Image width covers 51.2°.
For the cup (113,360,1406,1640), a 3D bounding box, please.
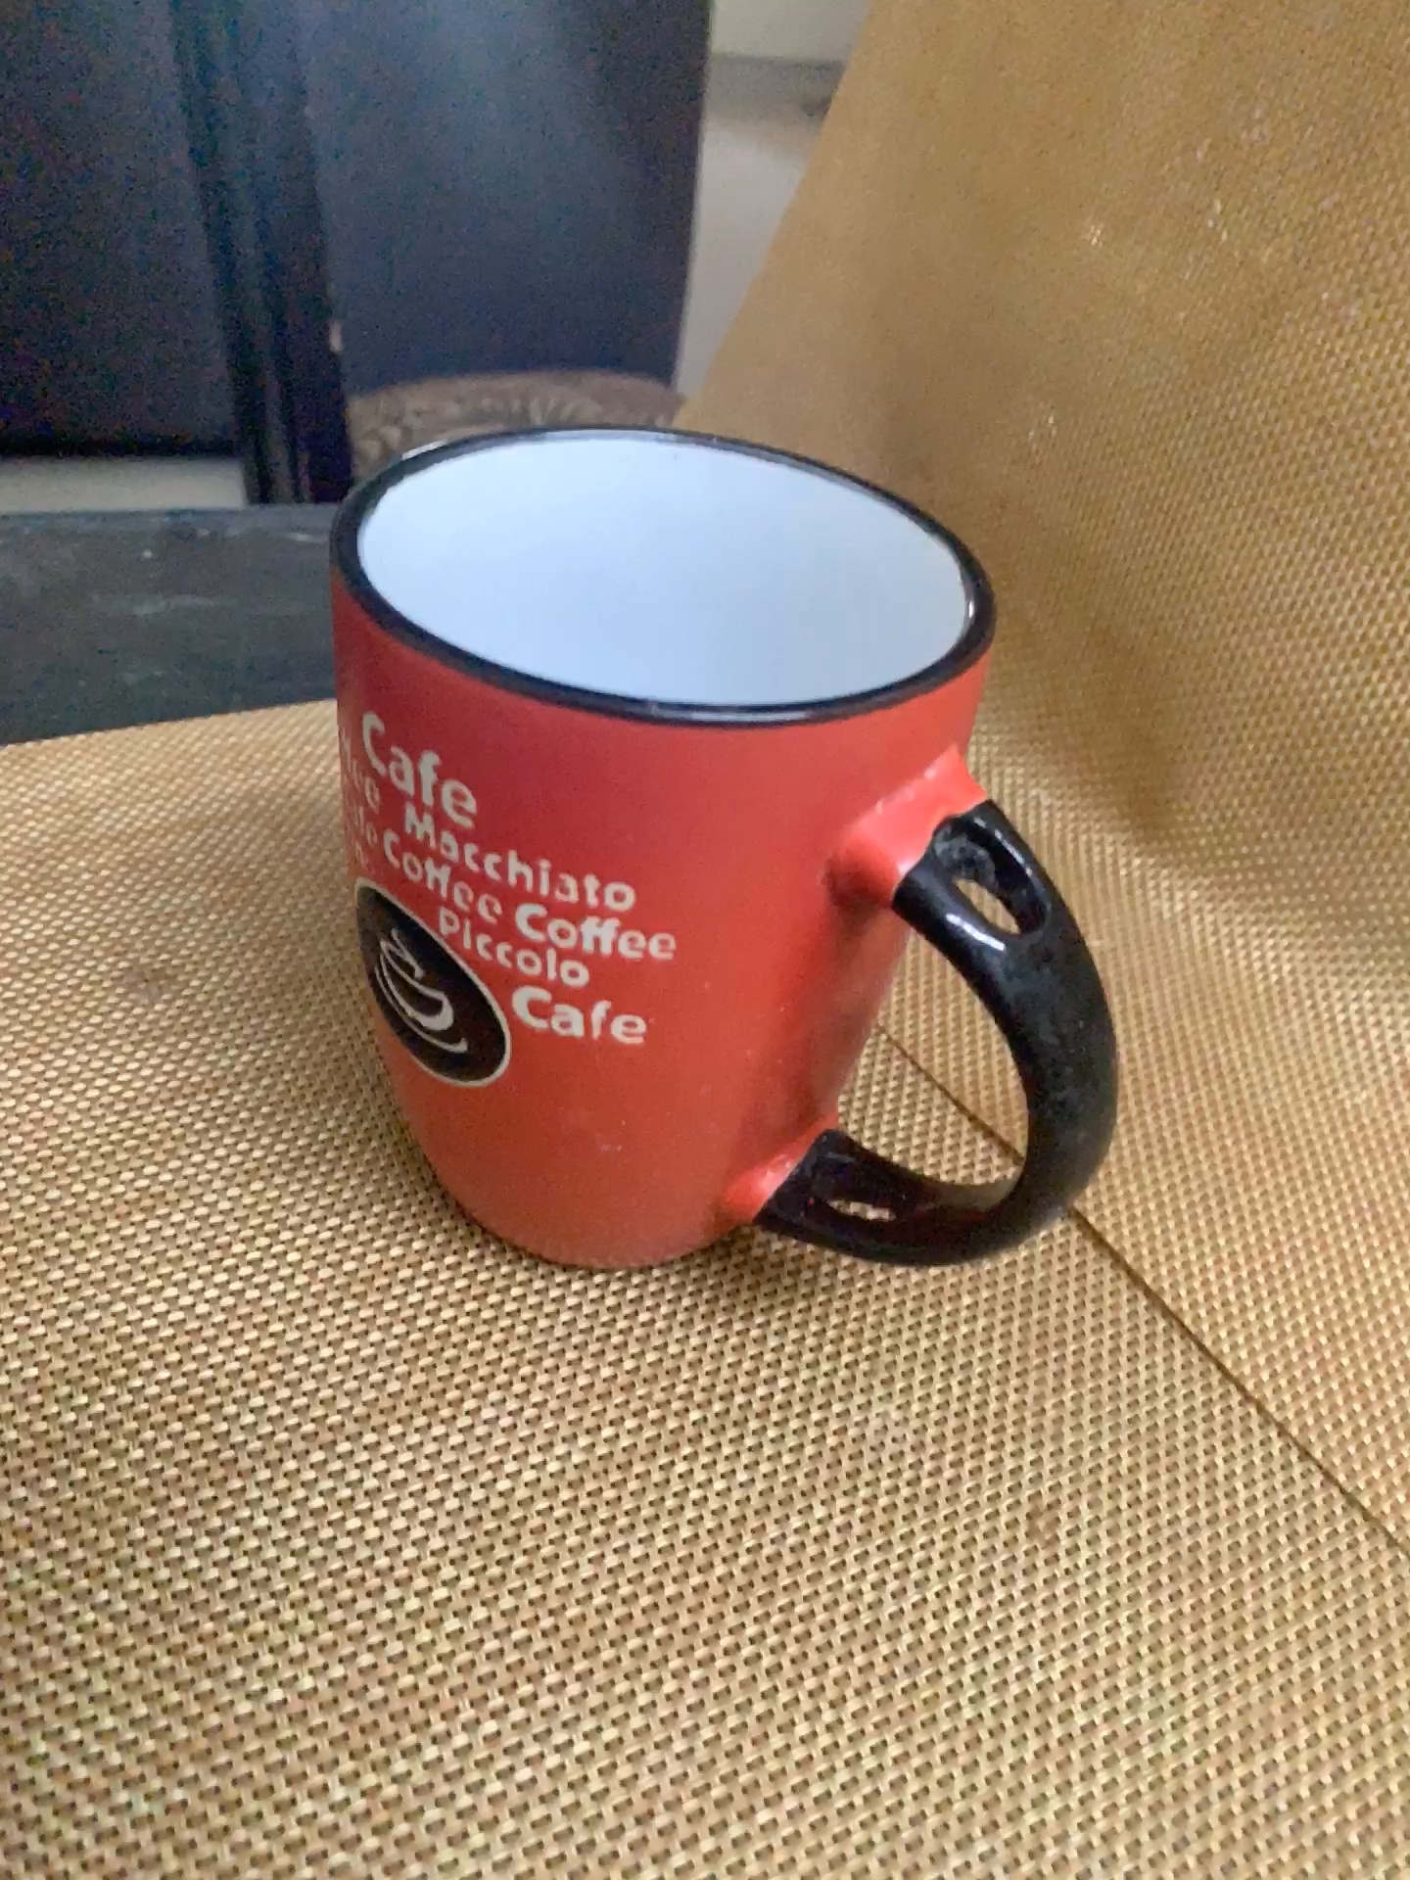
[{"bbox_3d":[0.003,-0.003,0.199,0.120,0.099,0.091,29,42,24],"label":"cup"}]
